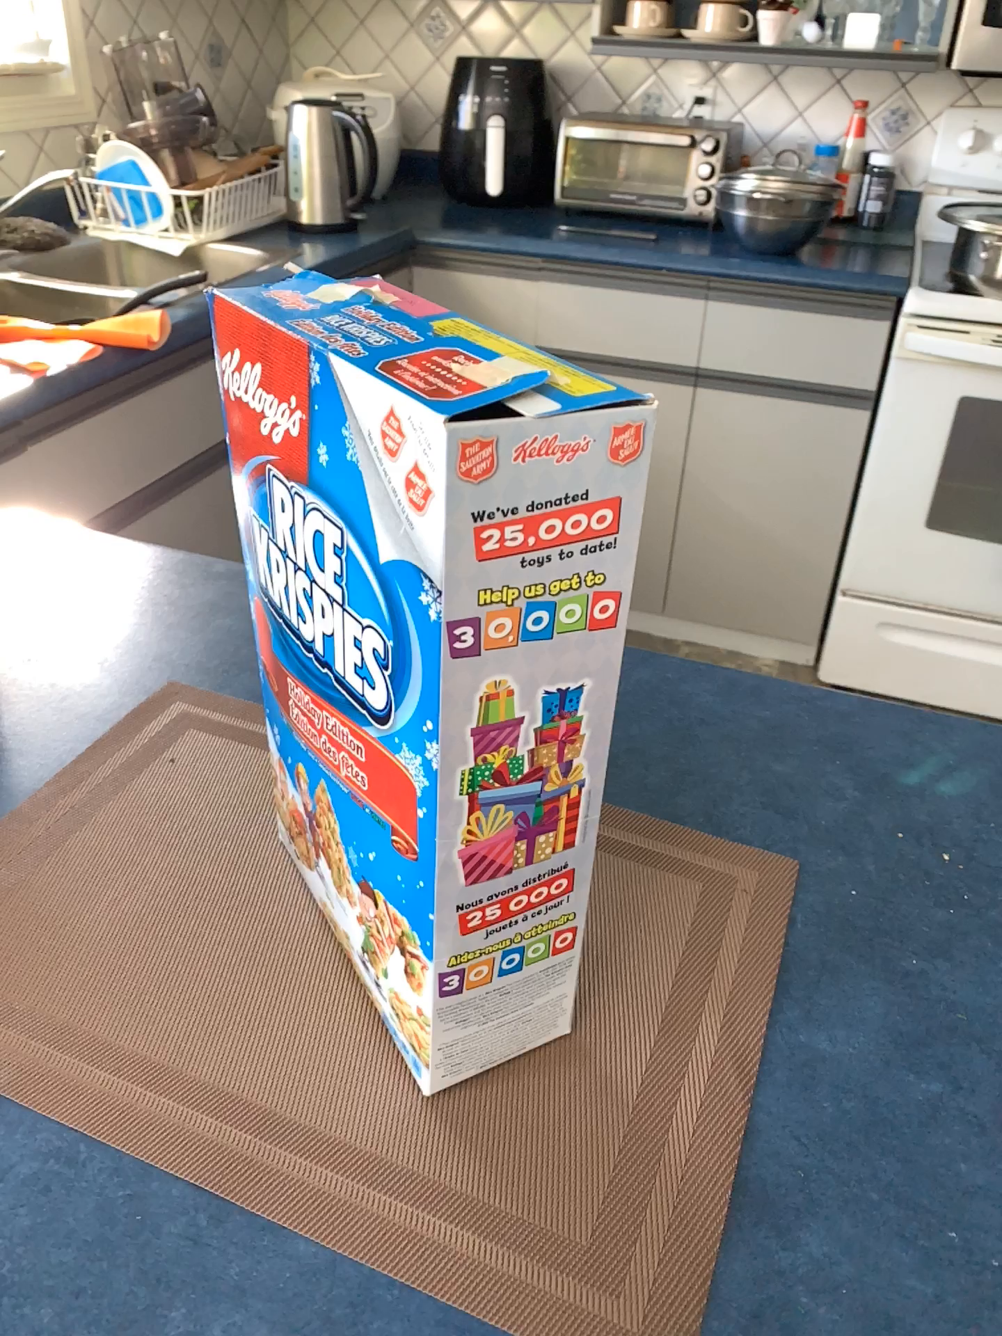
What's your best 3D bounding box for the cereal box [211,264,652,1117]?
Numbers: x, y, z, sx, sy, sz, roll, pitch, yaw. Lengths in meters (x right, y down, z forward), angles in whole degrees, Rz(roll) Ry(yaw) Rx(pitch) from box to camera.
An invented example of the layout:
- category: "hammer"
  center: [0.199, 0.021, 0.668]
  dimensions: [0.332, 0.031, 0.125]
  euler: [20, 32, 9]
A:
- category: "cereal box"
  center: [-0.050, 0.004, 0.487]
  dimensions: [0.080, 0.327, 0.221]
  euler: [-14, 35, -28]
